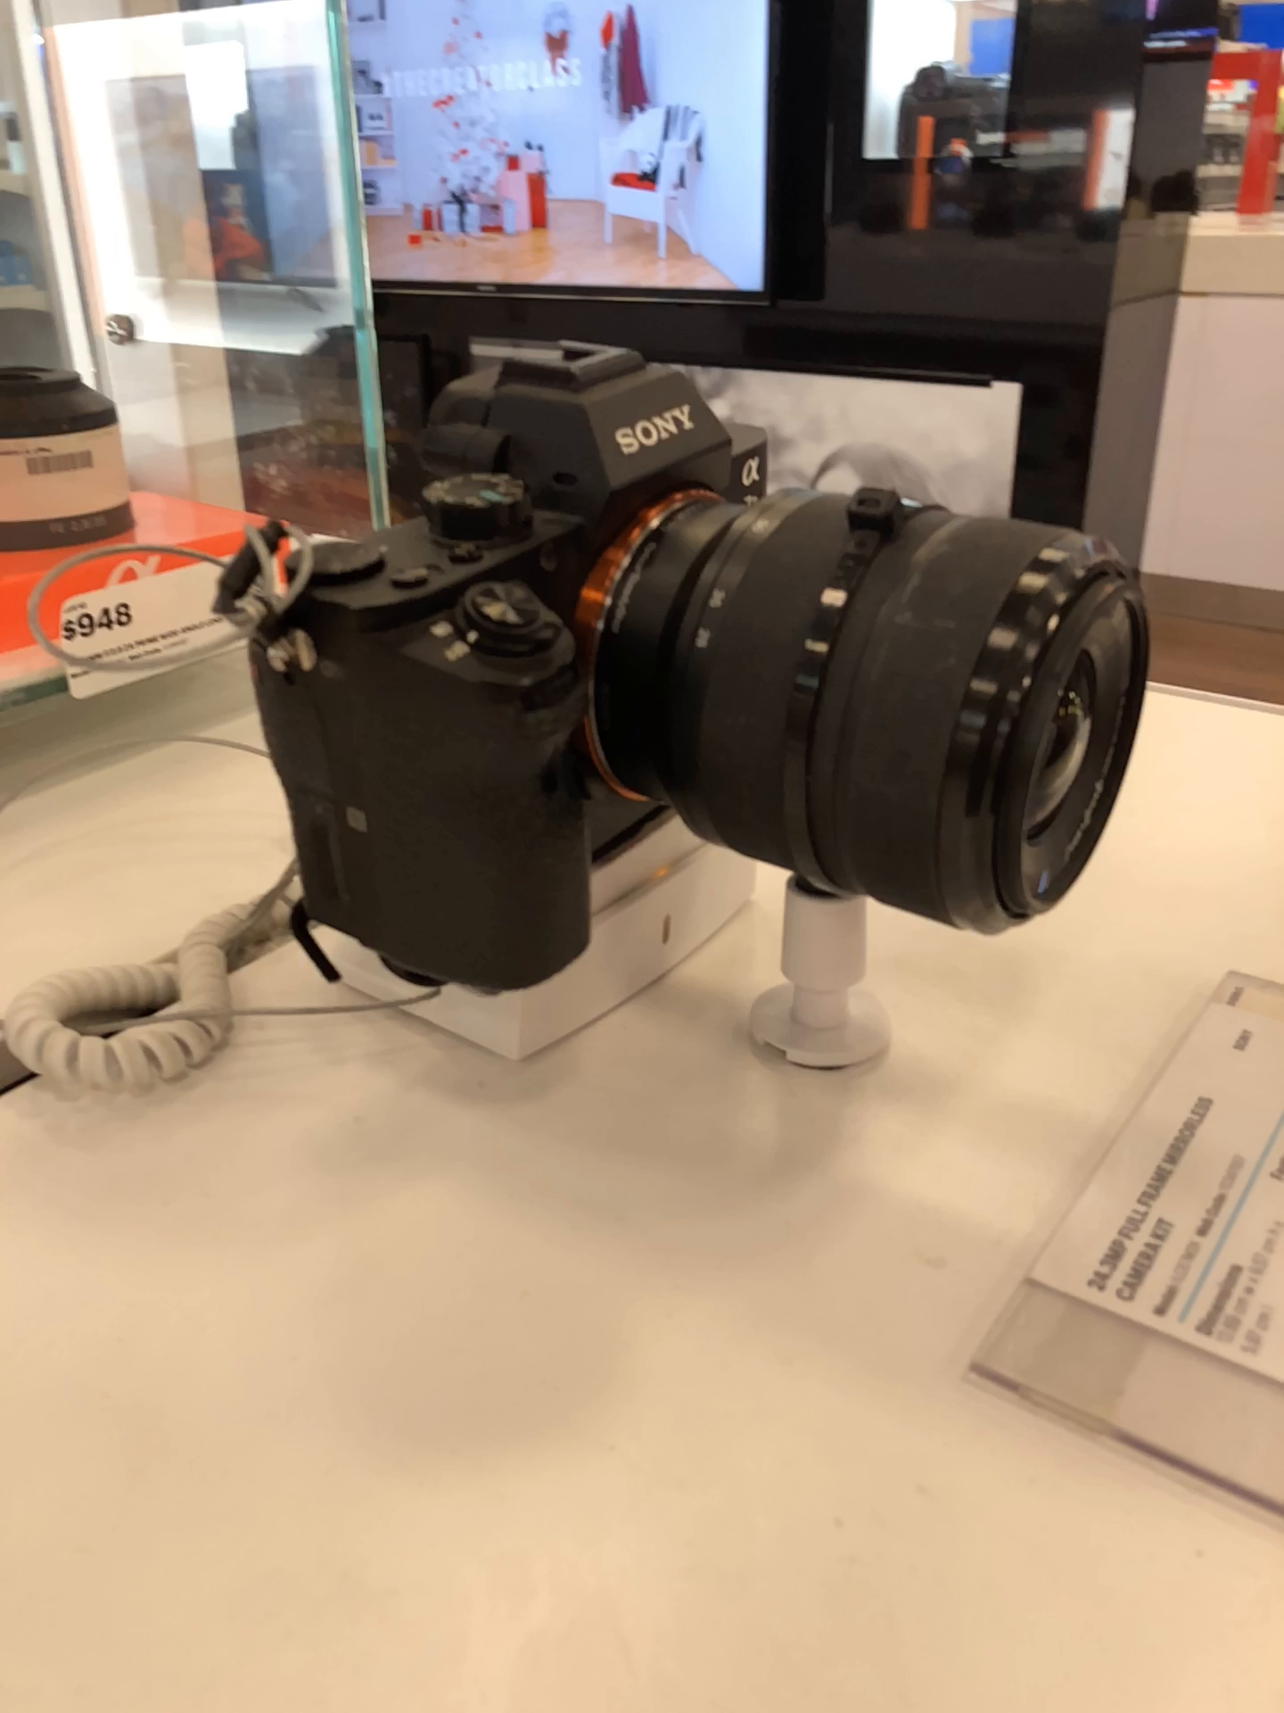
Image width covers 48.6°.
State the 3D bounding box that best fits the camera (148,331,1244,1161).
[{"bbox_3d":[0.017,-0.042,0.281,0.150,0.100,0.140,14,29,29],"label":"camera"}]
